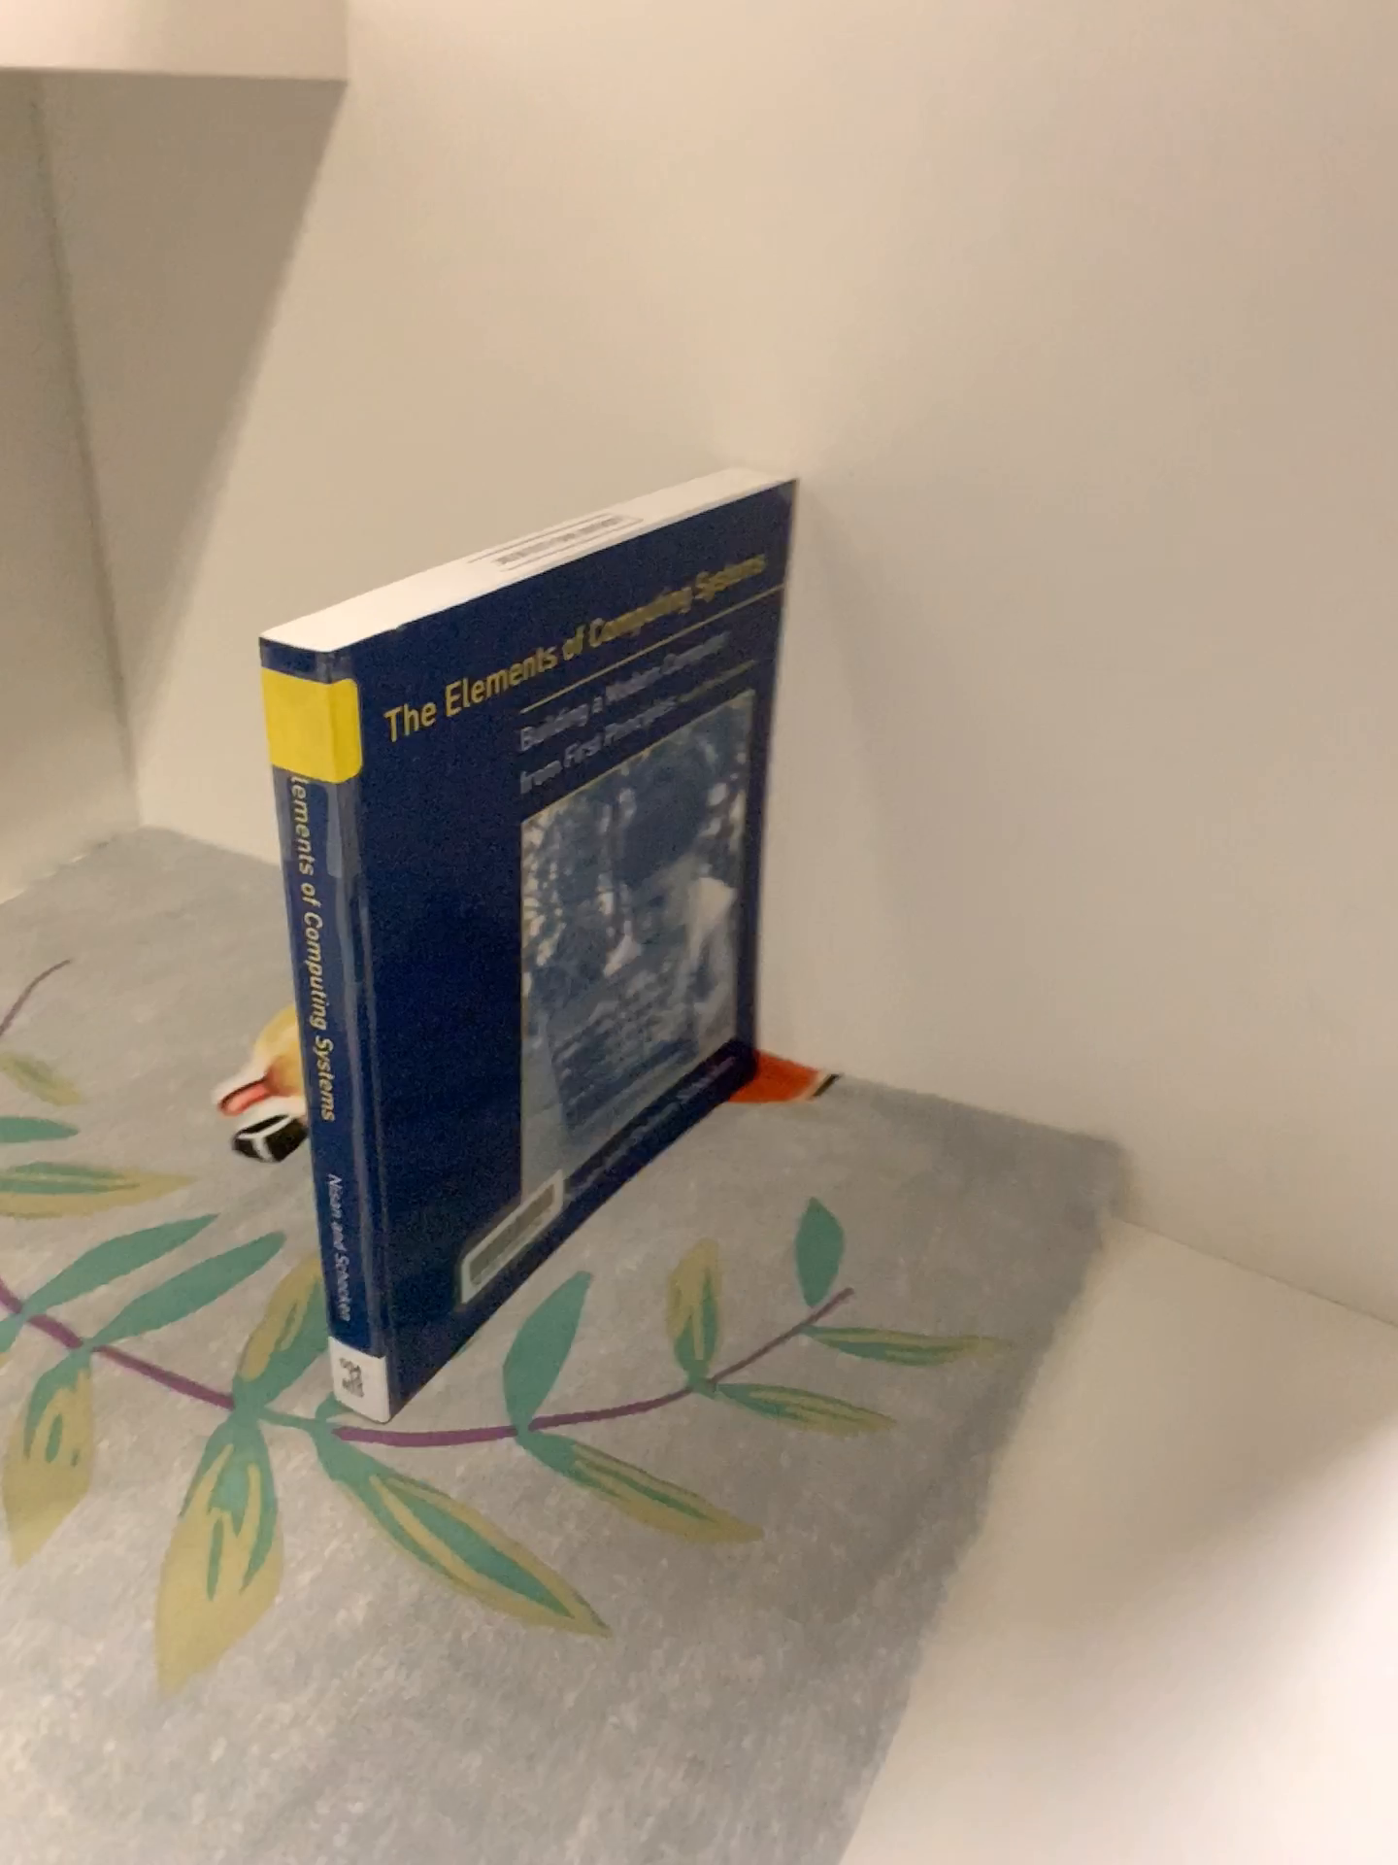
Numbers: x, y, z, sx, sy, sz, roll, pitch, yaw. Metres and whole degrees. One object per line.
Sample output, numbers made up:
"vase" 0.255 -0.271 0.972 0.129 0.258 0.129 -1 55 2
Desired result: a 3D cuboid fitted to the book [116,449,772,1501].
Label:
"book" -0.053 0.001 0.424 0.030 0.238 0.222 19 33 25
